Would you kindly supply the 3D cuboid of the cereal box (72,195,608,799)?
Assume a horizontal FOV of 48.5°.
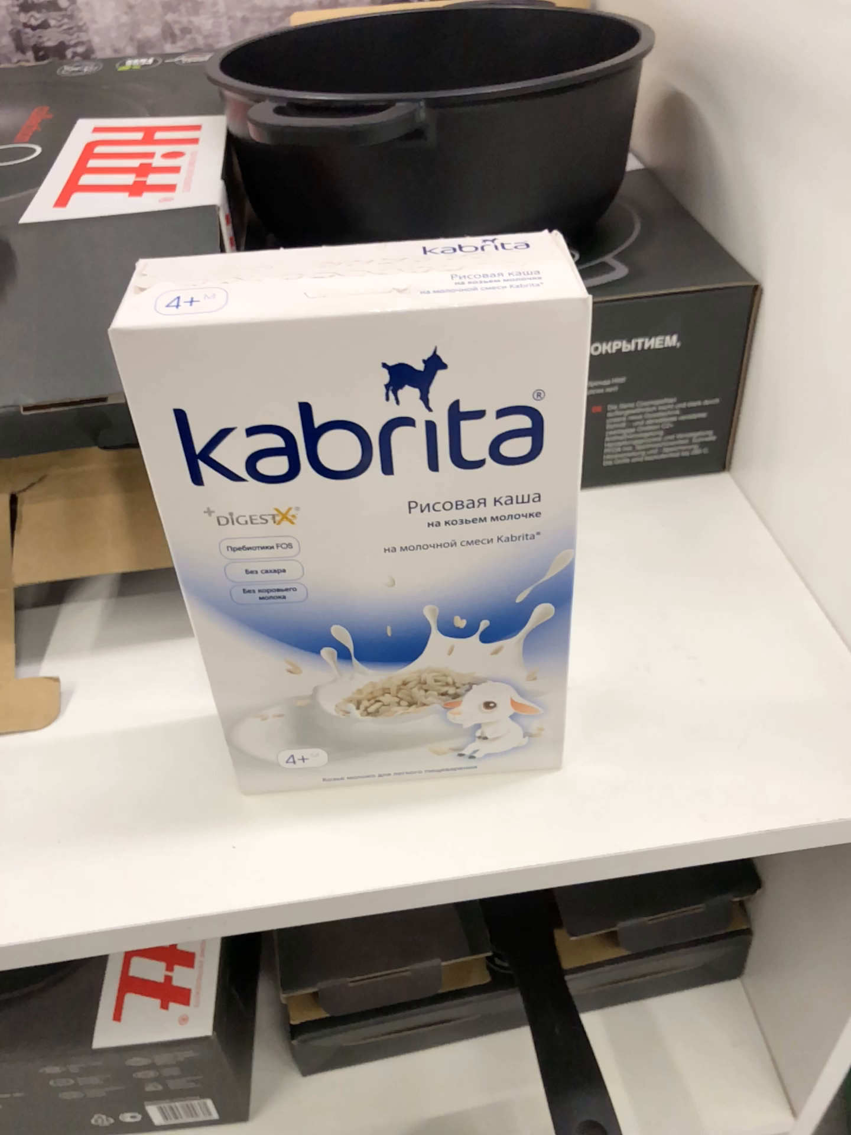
[{"bbox_3d":[-0.019,-0.011,0.336,0.140,0.209,0.060,-4,40,-1],"label":"cereal box"}]
